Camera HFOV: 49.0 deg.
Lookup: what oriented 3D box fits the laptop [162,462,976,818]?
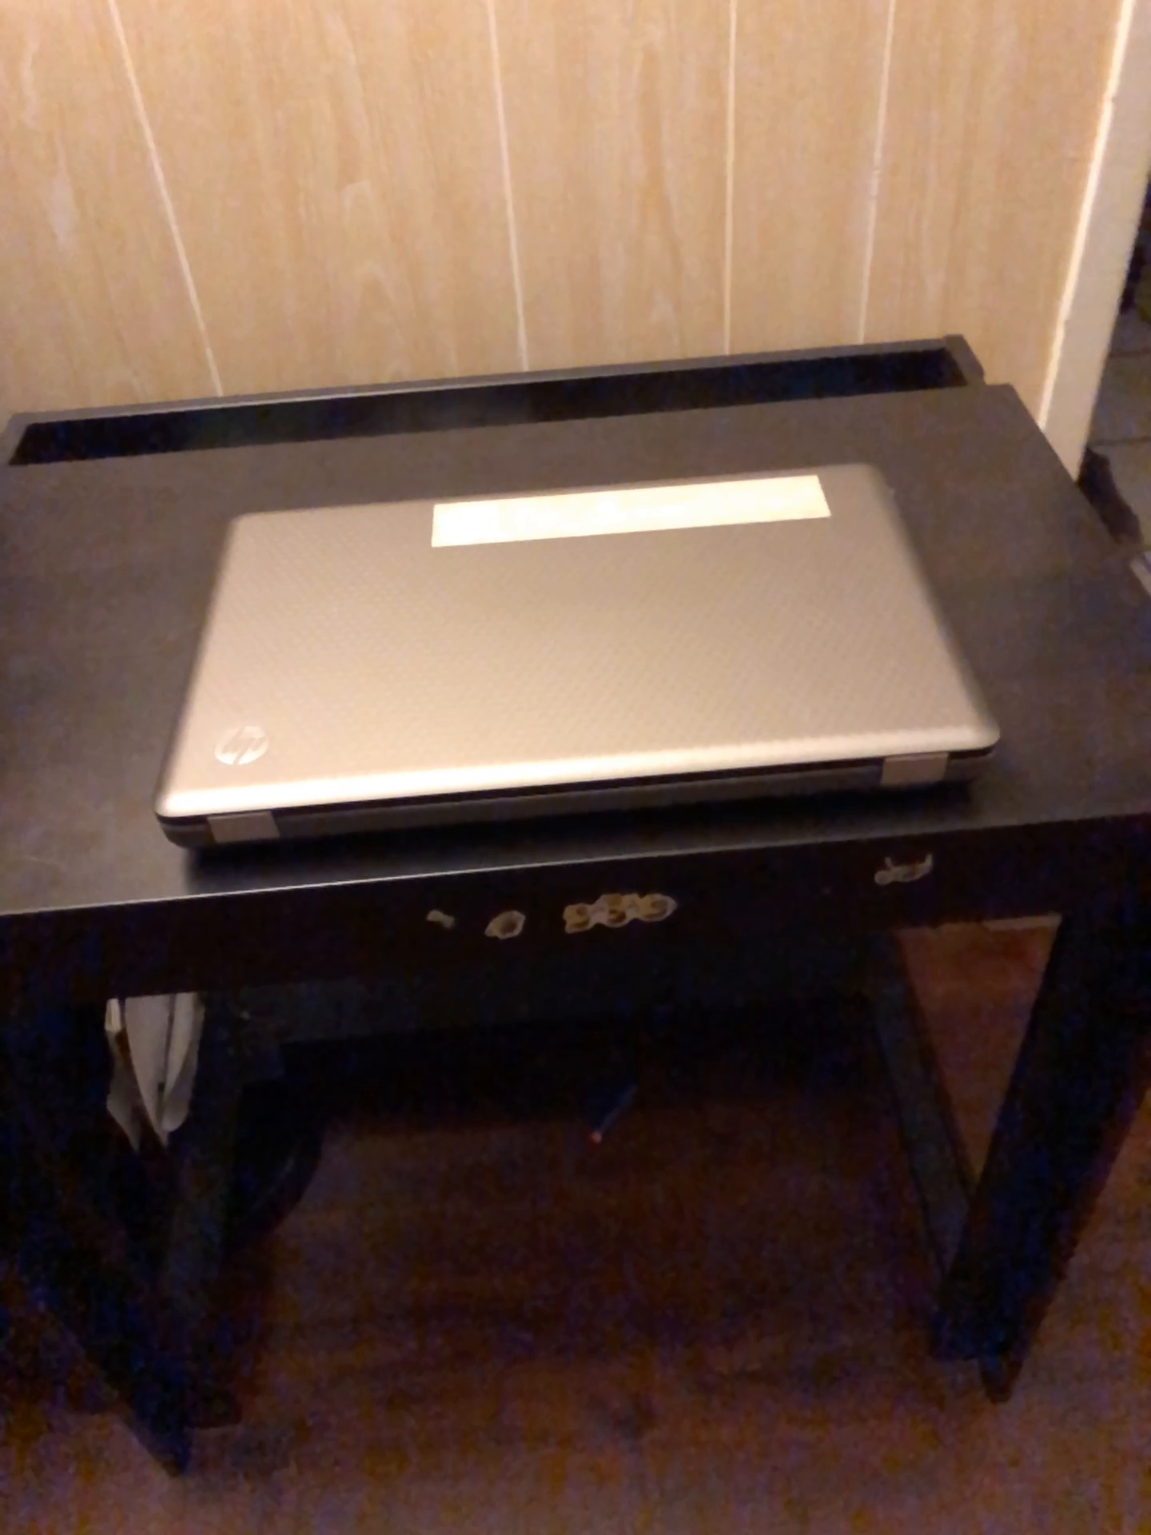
[{"bbox_3d":[-0.009,-0.076,0.637,0.357,0.001,0.239,-5,44,1],"label":"laptop"}]
